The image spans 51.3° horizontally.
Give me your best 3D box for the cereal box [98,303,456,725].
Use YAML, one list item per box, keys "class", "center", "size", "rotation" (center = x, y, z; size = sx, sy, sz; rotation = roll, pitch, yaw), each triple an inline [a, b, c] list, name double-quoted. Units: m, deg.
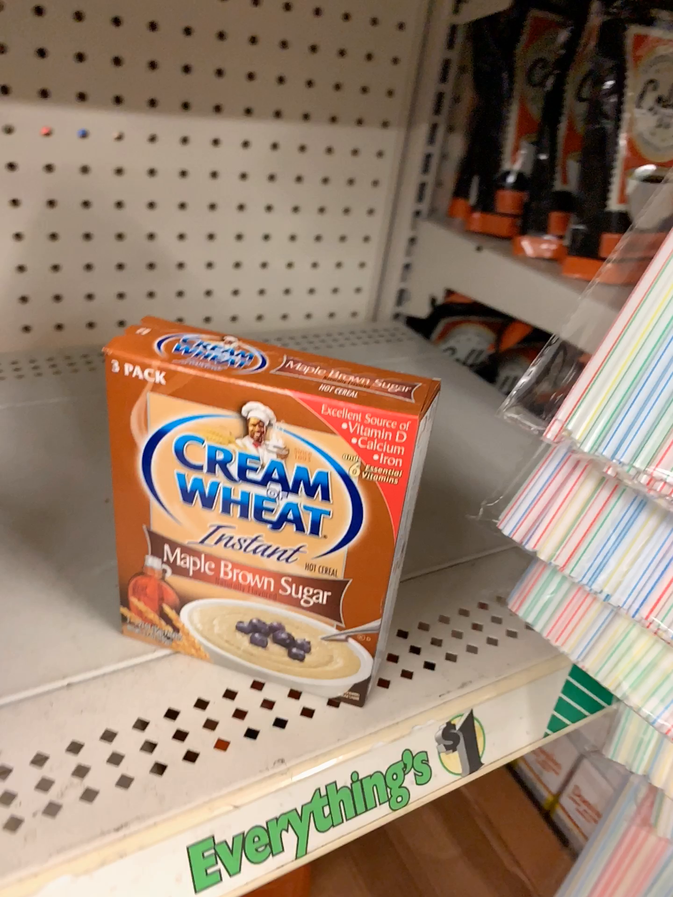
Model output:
- class: "cereal box"
  center: [-0.029, 0.030, 0.286]
  size: [0.120, 0.149, 0.040]
  rotation: [14, 31, 8]
